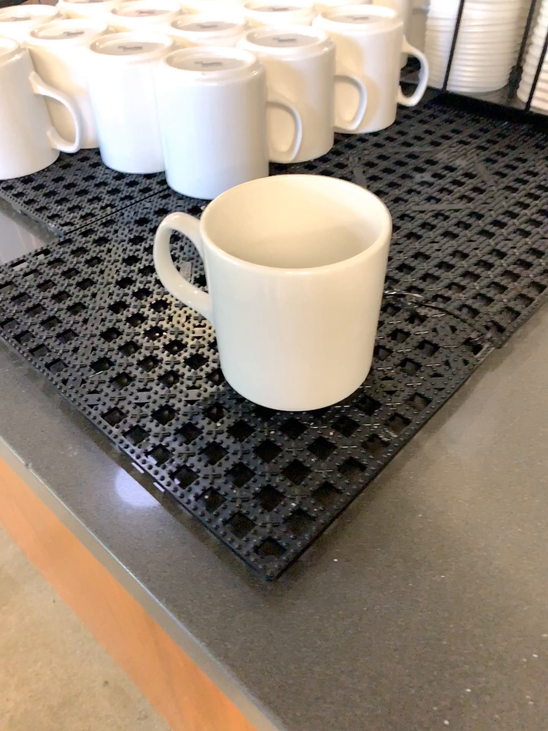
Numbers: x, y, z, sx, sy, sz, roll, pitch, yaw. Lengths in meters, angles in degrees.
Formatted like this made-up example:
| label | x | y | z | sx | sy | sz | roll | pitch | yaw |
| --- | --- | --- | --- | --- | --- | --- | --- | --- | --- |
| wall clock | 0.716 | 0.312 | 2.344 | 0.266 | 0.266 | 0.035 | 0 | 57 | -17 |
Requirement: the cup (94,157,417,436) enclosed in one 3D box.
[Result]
| label | x | y | z | sx | sy | sz | roll | pitch | yaw |
| --- | --- | --- | --- | --- | --- | --- | --- | --- | --- |
| cup | -0.003 | -0.039 | 0.281 | 0.120 | 0.080 | 0.090 | 13 | 46 | 16 |
